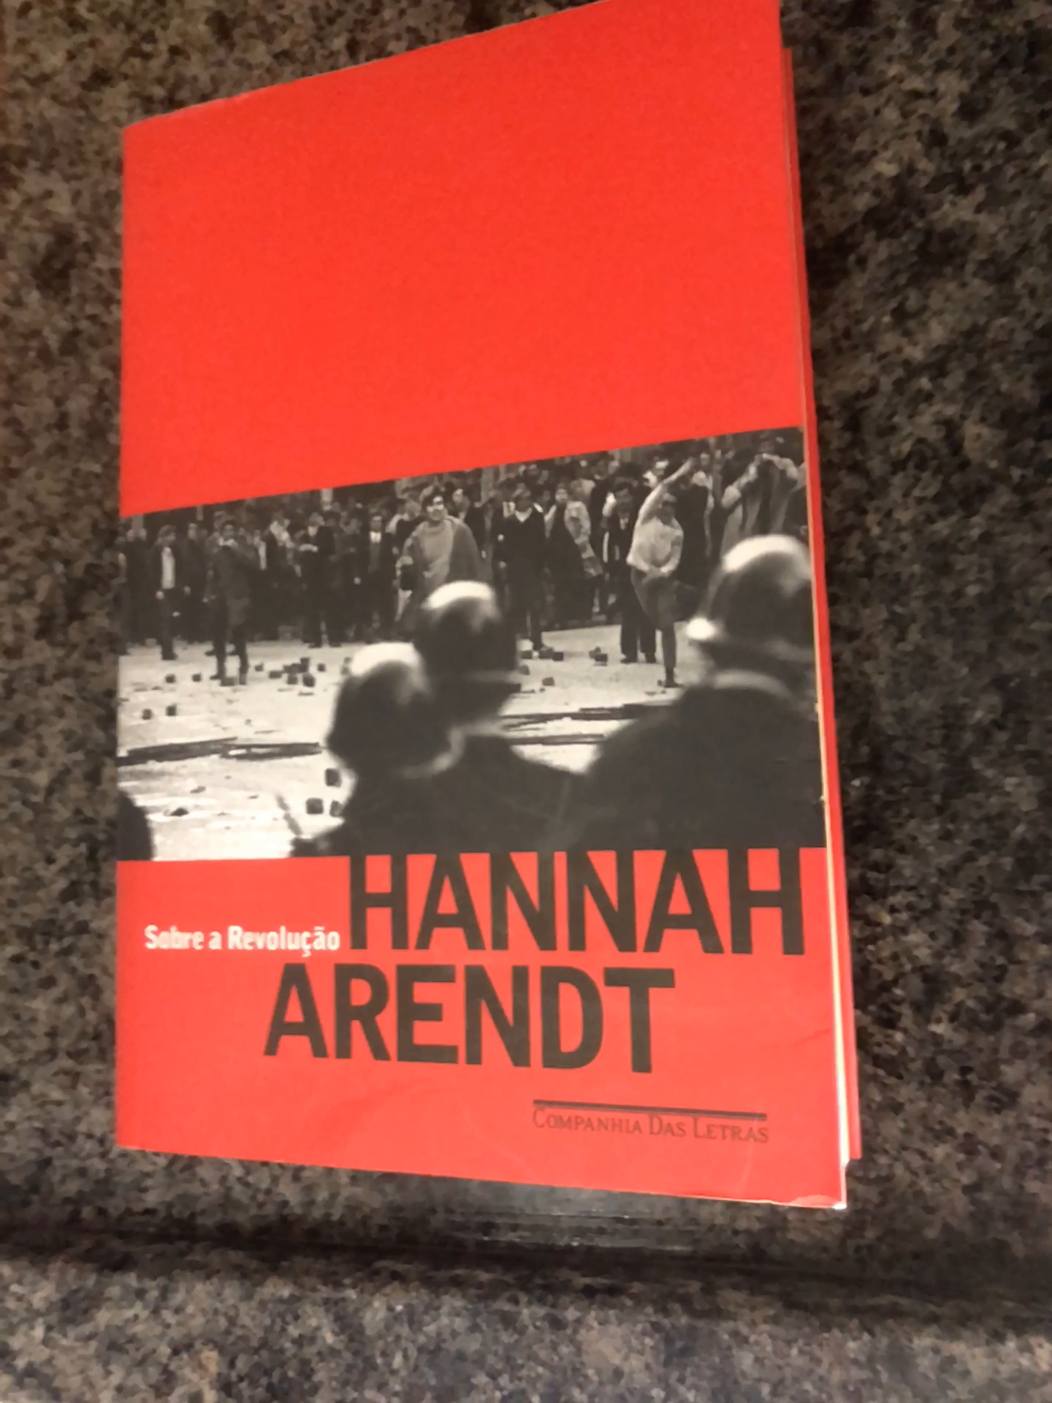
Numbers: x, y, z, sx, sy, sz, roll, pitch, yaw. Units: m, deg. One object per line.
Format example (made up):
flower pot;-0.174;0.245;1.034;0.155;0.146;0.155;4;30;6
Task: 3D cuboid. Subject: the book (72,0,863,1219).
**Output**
book;-0.017;-0.021;0.228;0.145;0.030;0.210;-4;83;20
